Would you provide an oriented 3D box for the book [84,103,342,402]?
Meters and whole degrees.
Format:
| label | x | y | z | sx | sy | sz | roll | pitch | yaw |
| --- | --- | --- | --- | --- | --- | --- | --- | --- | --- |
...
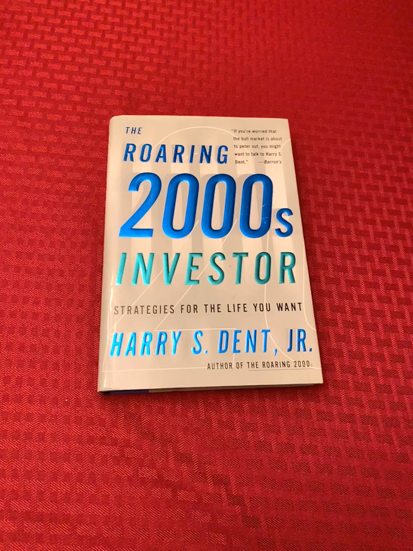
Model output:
| label | x | y | z | sx | sy | sz | roll | pitch | yaw |
| --- | --- | --- | --- | --- | --- | --- | --- | --- | --- |
| book | -0.001 | -0.029 | 0.342 | 0.170 | 0.040 | 0.240 | -1 | 68 | -6 |
